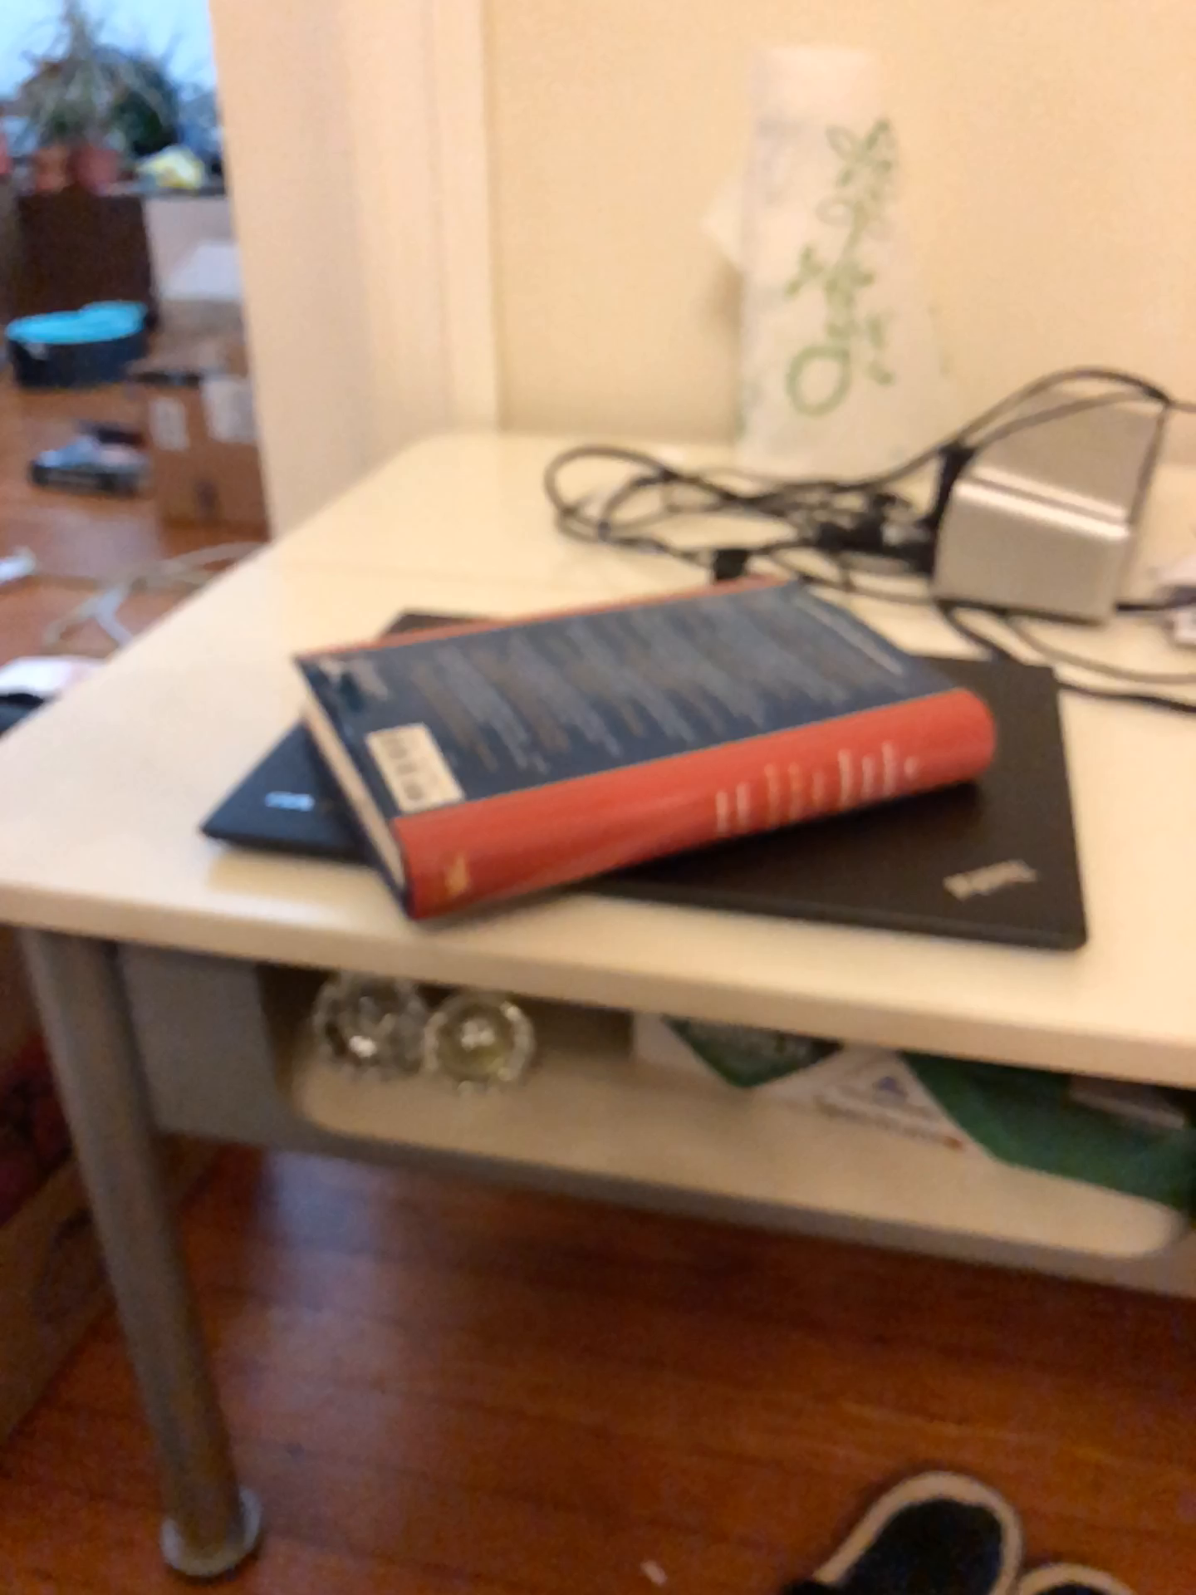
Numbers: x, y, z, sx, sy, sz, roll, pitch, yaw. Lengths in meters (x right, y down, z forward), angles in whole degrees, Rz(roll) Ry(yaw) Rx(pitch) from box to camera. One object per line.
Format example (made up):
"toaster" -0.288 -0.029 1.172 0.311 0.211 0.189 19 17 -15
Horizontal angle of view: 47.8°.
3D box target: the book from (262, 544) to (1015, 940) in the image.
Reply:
"book" 0.008 -0.036 0.527 0.240 0.040 0.171 -14 30 -19
